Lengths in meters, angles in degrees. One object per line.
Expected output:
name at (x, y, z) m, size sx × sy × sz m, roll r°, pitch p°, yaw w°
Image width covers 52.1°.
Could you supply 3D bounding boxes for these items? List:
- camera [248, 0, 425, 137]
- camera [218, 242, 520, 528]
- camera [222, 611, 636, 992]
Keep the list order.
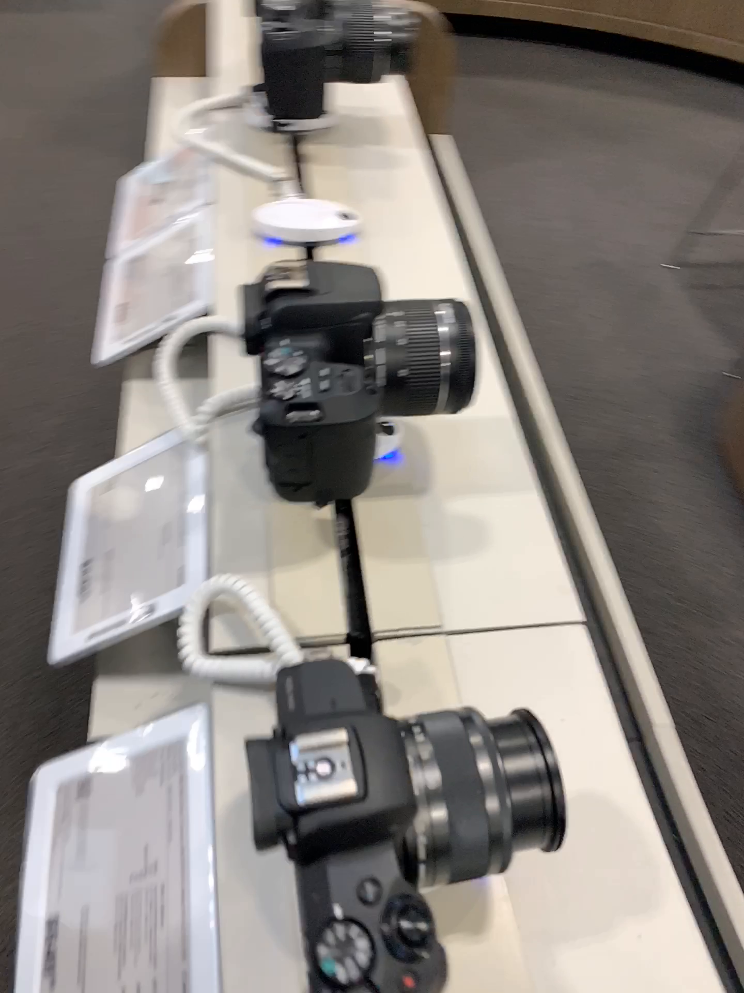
camera at (-0.039, -0.418, 0.707) m, size 0.145 × 0.101 × 0.134 m, roll -2°, pitch 51°, yaw -7°
camera at (-0.010, -0.065, 0.426) m, size 0.135 × 0.089 × 0.122 m, roll -6°, pitch 52°, yaw -10°
camera at (0.009, 0.120, 0.280) m, size 0.111 × 0.088 × 0.112 m, roll -6°, pitch 52°, yaw -10°
